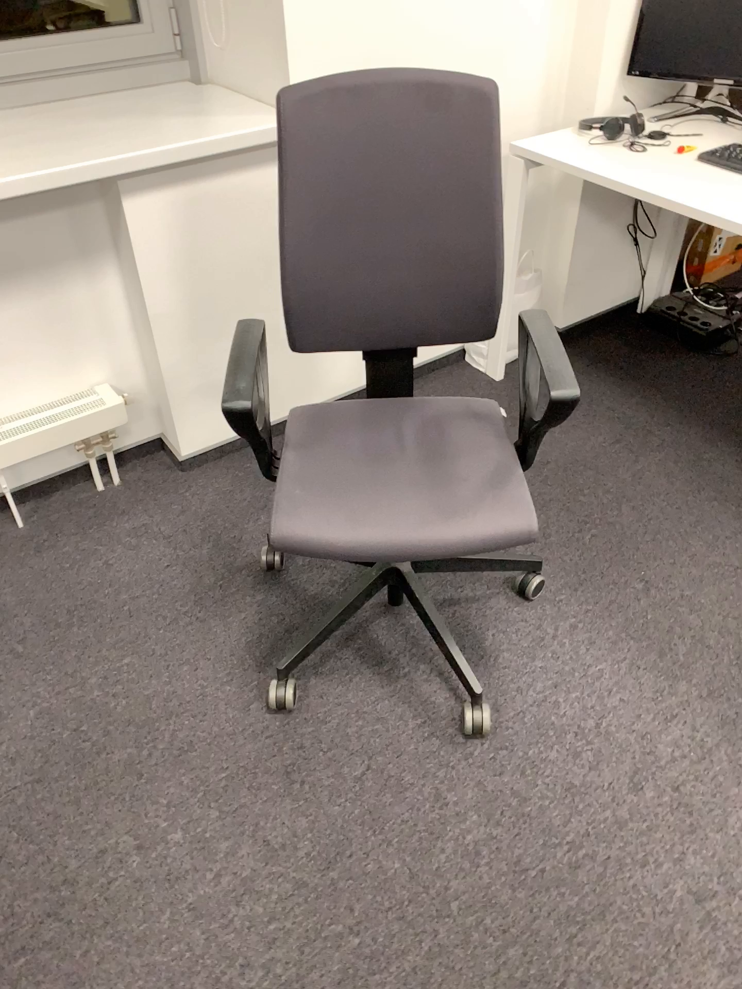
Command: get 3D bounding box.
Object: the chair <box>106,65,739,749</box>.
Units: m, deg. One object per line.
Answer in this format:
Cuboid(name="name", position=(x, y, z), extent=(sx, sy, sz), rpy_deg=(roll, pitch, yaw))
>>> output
Cuboid(name="chair", position=(0.057, -0.150, 1.456), extent=(0.700, 1.044, 0.754), rpy_deg=(-2, 40, -1))
